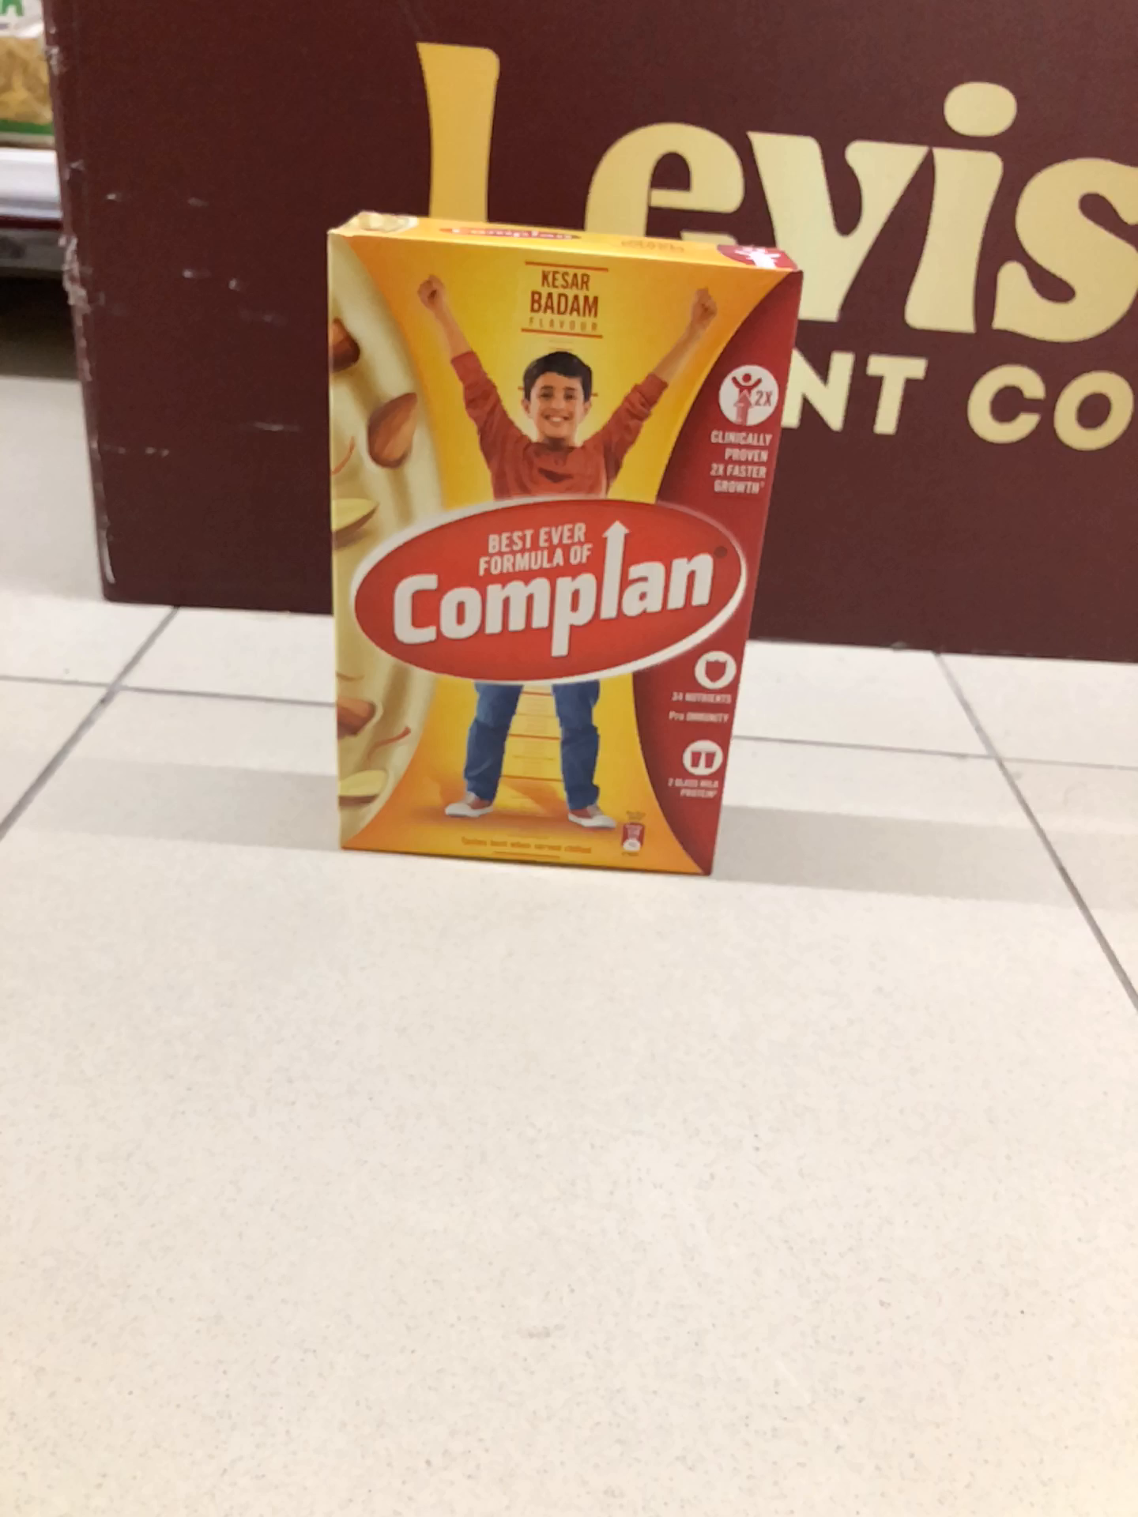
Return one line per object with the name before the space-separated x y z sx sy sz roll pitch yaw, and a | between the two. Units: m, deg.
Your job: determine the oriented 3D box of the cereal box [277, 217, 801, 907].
cereal box | -0.016 -0.061 0.439 0.150 0.219 0.060 4 28 -2
